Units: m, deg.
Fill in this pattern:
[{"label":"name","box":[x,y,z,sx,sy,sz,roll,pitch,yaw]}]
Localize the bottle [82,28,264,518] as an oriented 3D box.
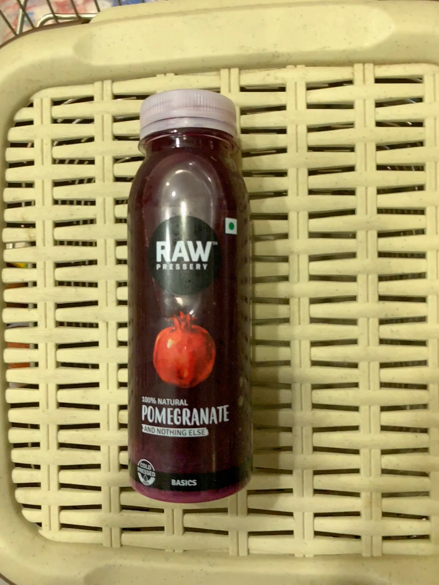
[{"label":"bottle","box":[-0.015,-0.006,0.175,0.060,0.050,0.160,0,91,4]}]
